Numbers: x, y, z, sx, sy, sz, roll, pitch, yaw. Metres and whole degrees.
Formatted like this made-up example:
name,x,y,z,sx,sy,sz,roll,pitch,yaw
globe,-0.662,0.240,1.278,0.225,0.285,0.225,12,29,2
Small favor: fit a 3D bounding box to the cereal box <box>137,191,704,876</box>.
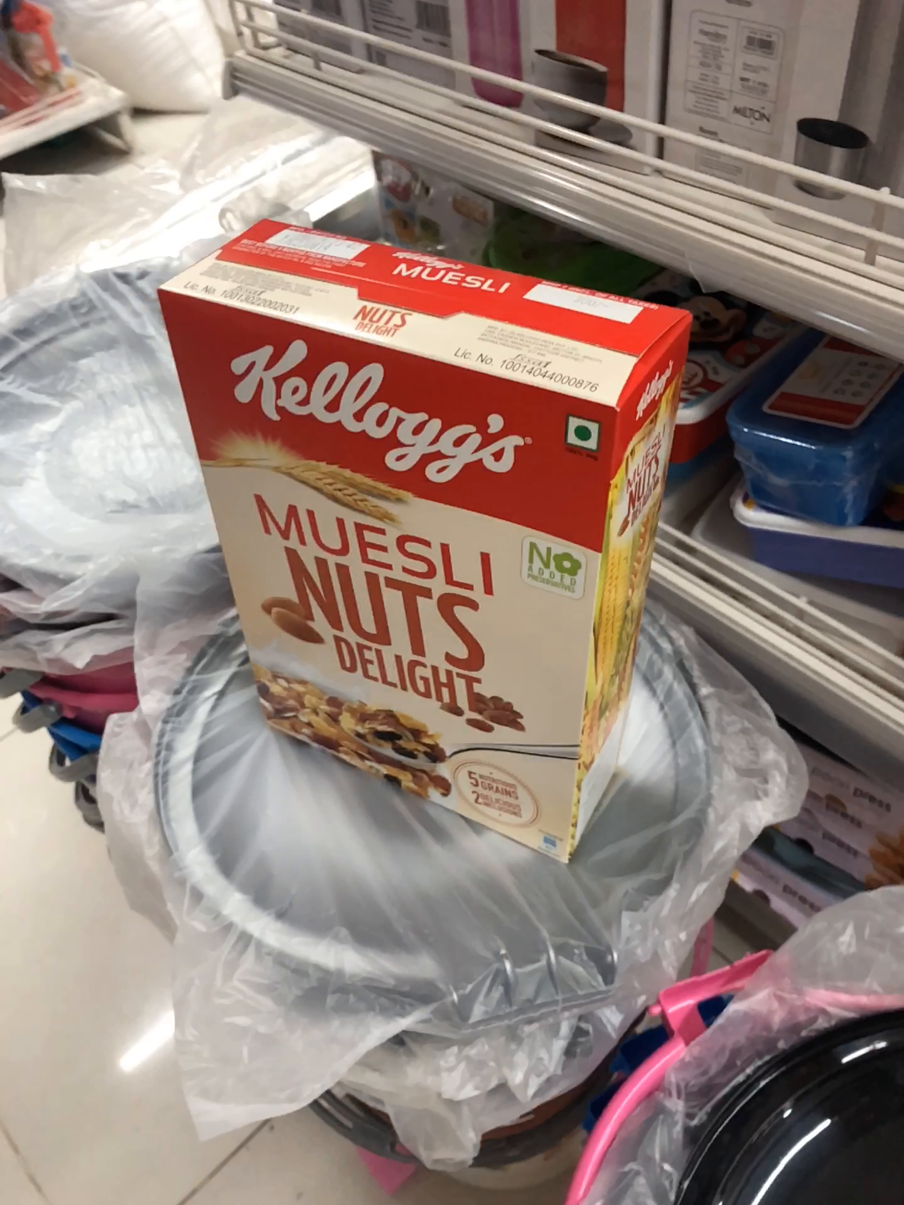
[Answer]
name,x,y,z,sx,sy,sz,roll,pitch,yaw
cereal box,-0.014,-0.020,0.440,0.190,0.259,0.070,22,47,22
